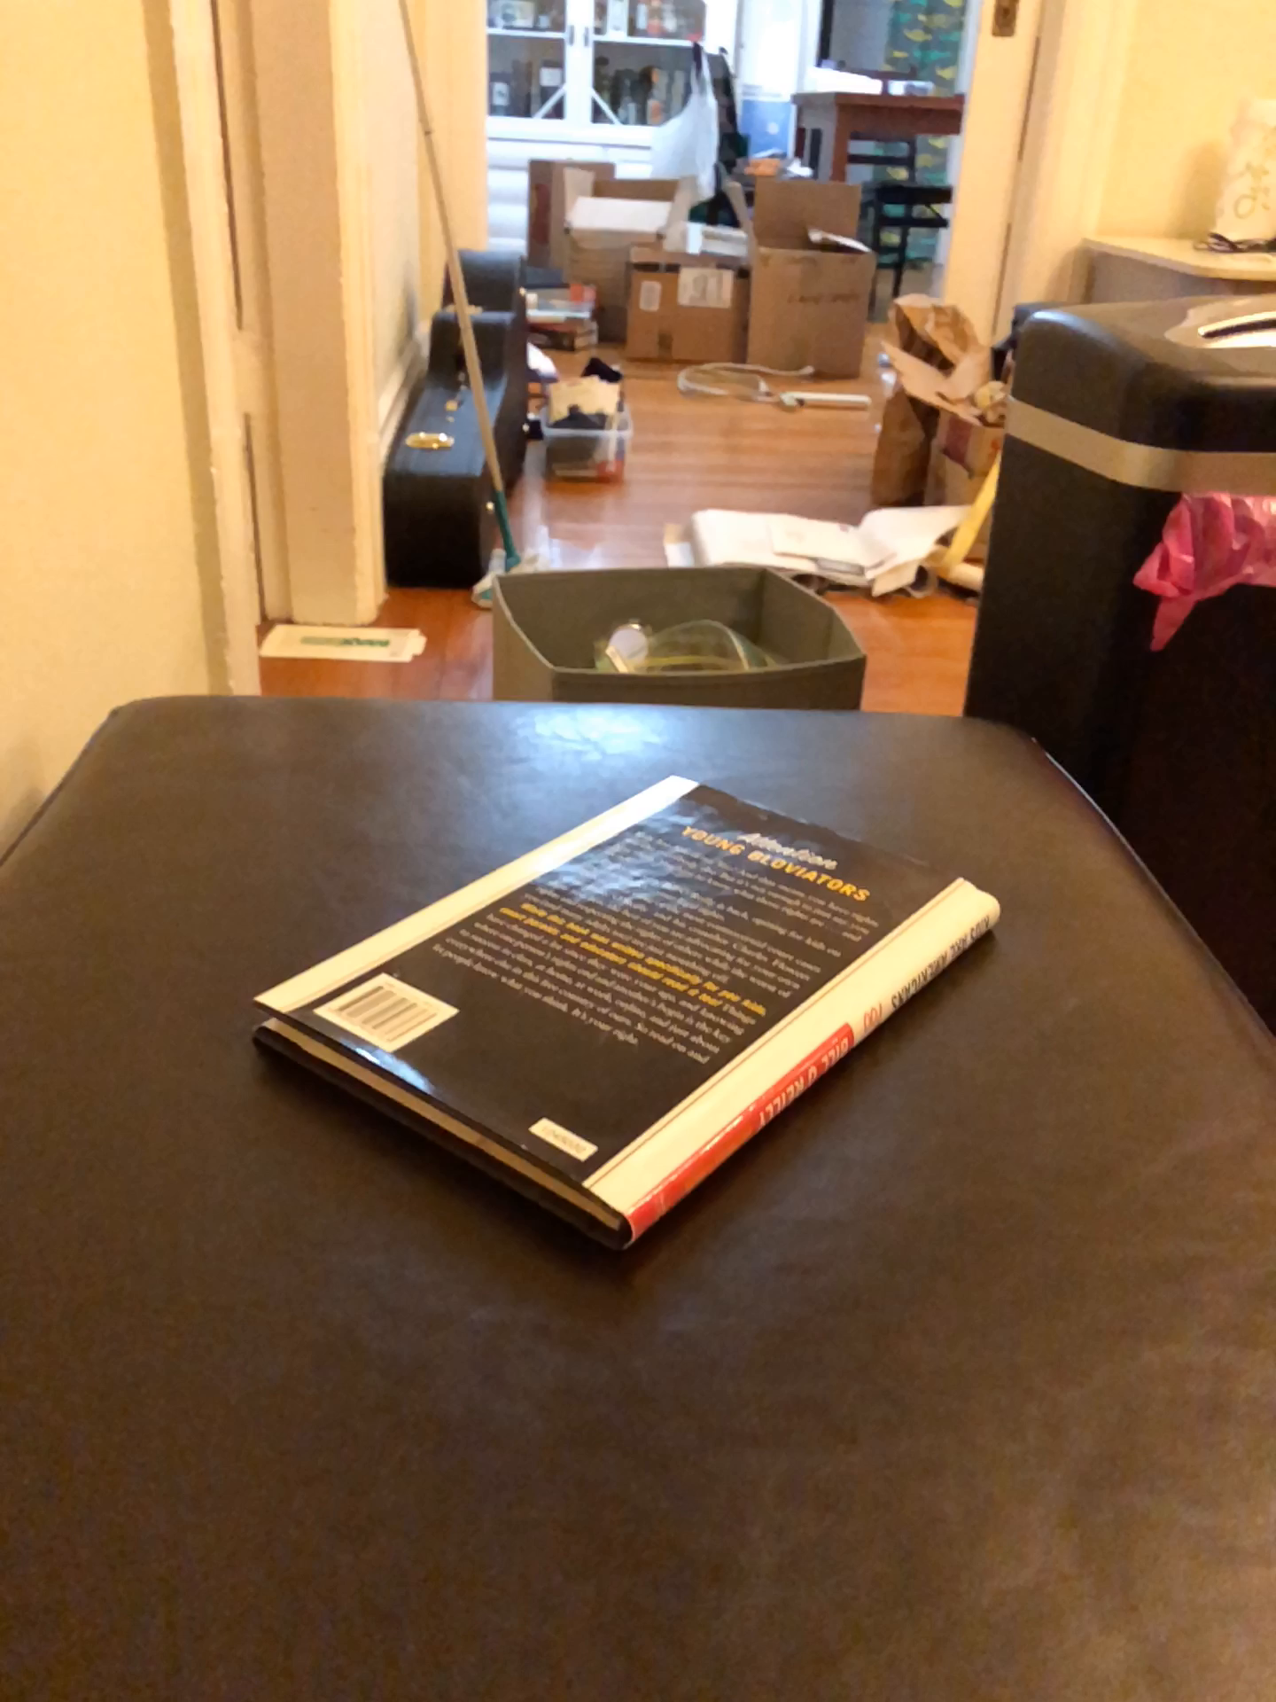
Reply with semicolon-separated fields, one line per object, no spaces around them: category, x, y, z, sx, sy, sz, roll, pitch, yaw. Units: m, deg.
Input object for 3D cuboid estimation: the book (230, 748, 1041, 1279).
book;0.011;0.031;0.464;0.160;0.020;0.231;21;32;31
